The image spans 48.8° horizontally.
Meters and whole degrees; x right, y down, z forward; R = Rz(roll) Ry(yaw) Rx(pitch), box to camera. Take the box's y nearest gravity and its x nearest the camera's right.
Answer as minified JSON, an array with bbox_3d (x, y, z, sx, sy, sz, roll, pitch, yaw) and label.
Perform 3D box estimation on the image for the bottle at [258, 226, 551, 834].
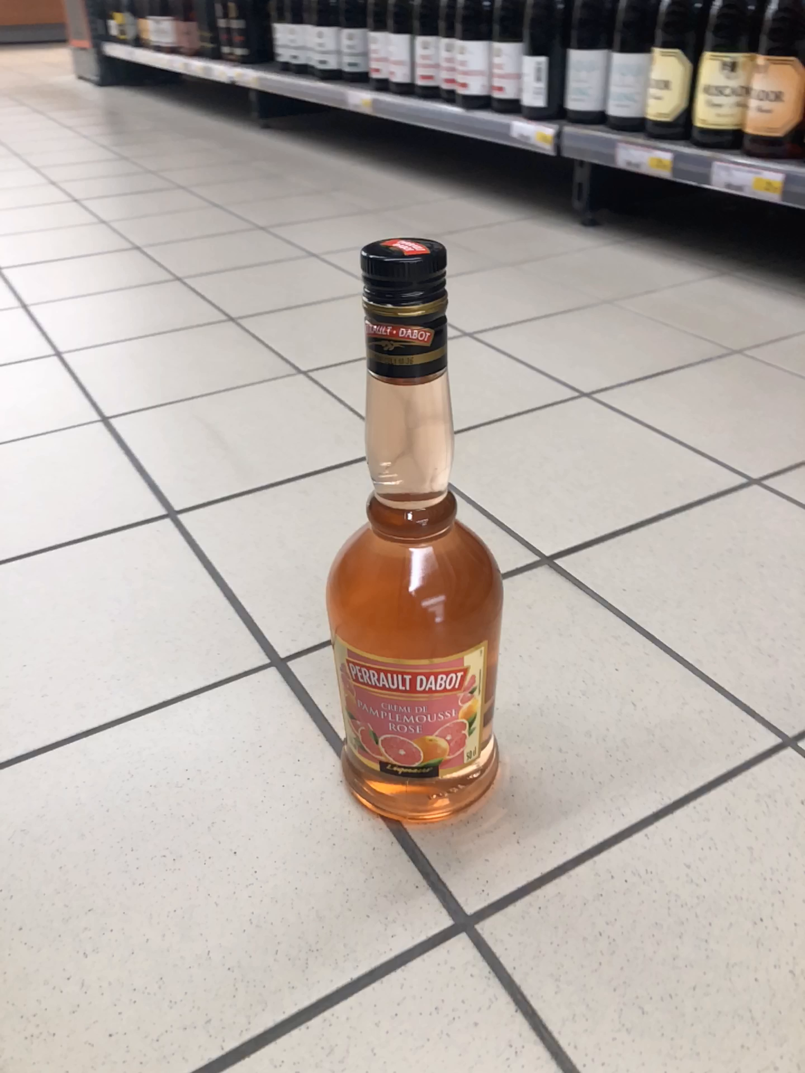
[{"bbox_3d":[0.008,0.004,0.367,0.090,0.239,0.081,3,31,8],"label":"bottle"}]
